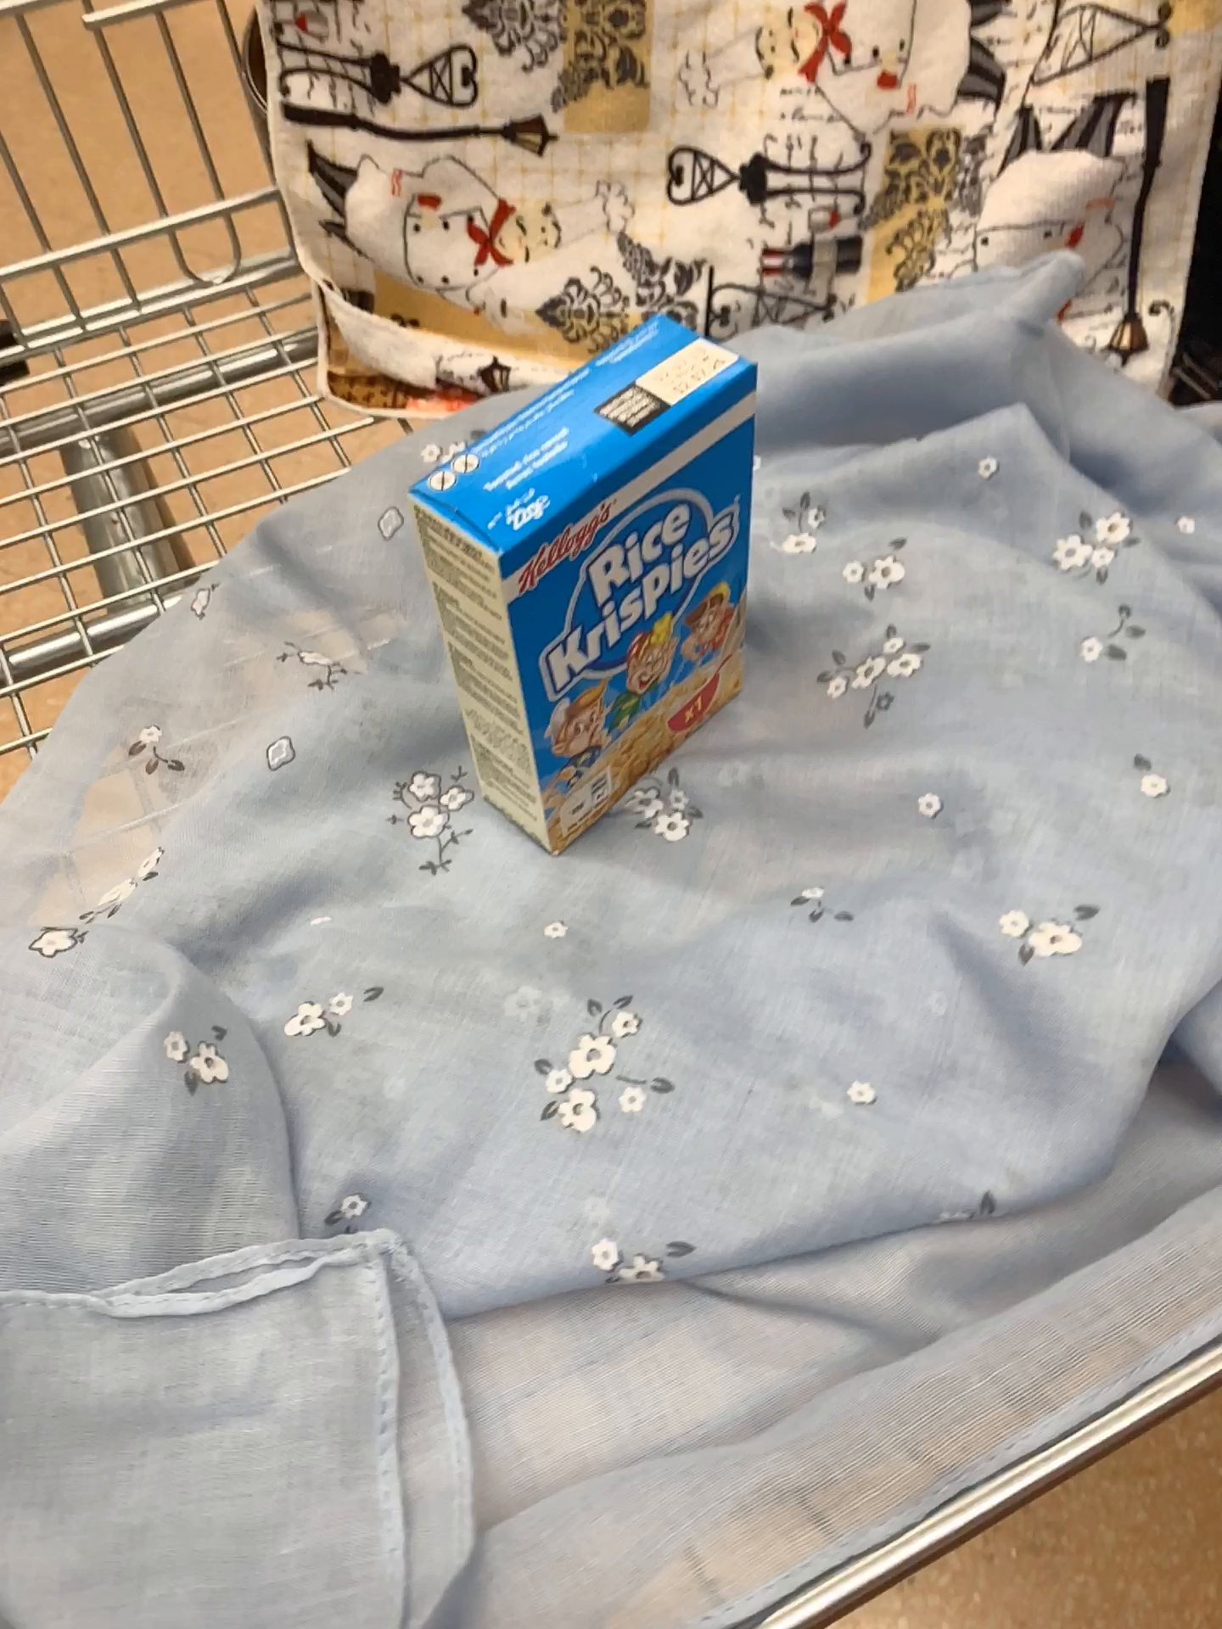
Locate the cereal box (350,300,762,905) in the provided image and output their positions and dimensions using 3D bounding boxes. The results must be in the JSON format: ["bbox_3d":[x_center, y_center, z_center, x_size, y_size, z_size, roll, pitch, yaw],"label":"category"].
[{"bbox_3d":[-0.009,-0.053,0.357,0.040,0.139,0.100,36,65,22],"label":"cereal box"}]
